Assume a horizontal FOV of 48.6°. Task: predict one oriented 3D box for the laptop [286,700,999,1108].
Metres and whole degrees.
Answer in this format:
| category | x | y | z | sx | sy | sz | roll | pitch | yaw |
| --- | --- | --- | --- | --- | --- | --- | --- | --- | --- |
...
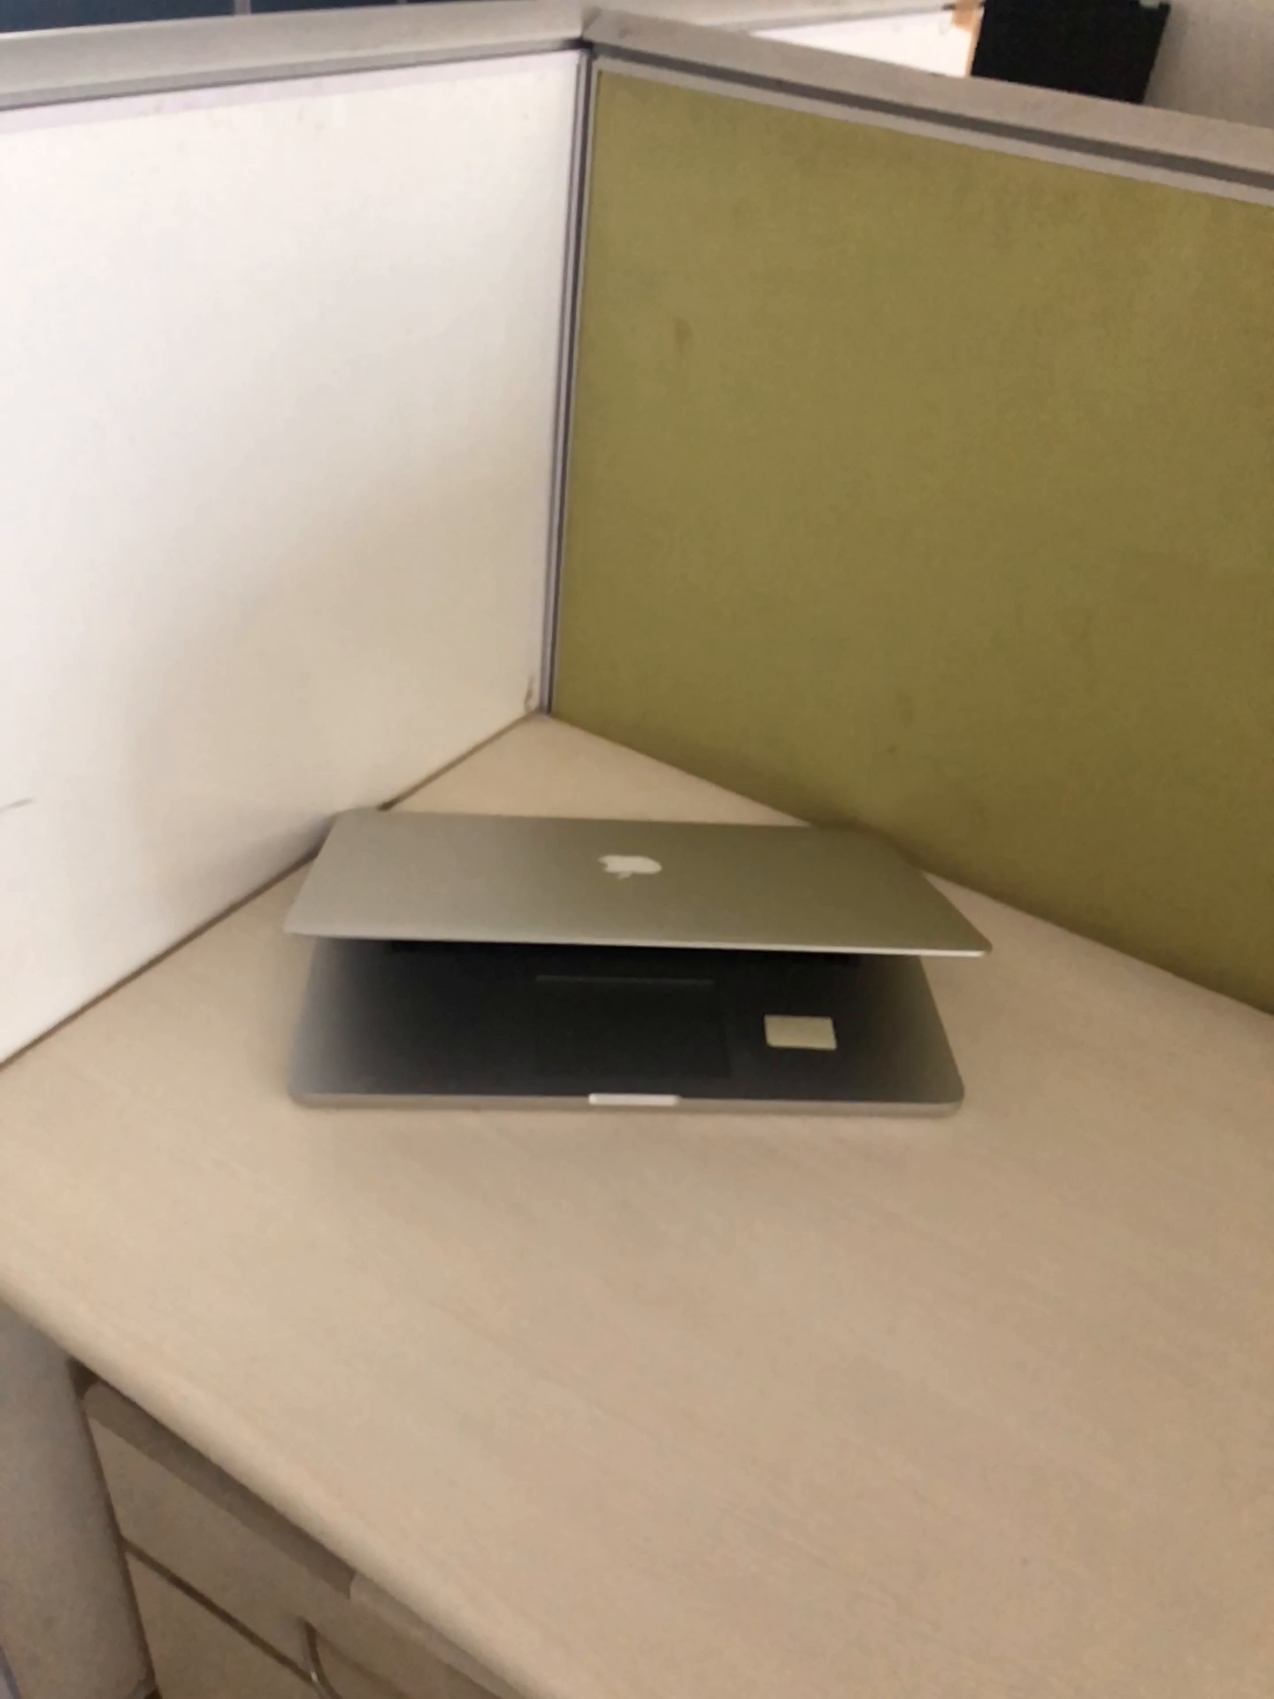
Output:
| category | x | y | z | sx | sy | sz | roll | pitch | yaw |
| --- | --- | --- | --- | --- | --- | --- | --- | --- | --- |
| laptop | -0.004 | 0.022 | 0.796 | 0.343 | 0.083 | 0.245 | 2 | 36 | -6 |
